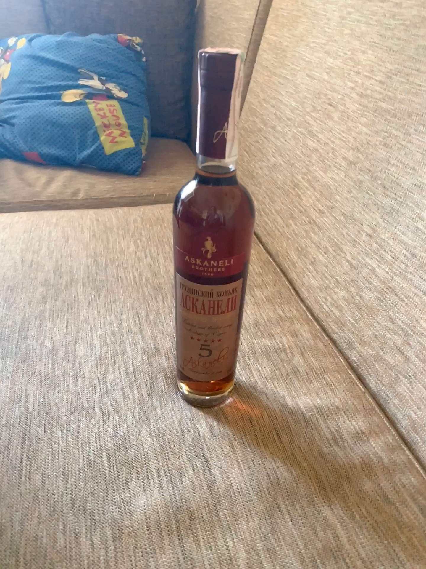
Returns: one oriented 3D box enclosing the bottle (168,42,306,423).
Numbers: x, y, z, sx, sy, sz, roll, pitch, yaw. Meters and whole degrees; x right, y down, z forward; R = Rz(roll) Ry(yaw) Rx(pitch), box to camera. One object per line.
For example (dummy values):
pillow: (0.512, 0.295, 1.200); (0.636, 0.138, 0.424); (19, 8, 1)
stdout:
bottle: (0.009, -0.020, 0.333); (0.070, 0.279, 0.070); (3, 33, -2)
